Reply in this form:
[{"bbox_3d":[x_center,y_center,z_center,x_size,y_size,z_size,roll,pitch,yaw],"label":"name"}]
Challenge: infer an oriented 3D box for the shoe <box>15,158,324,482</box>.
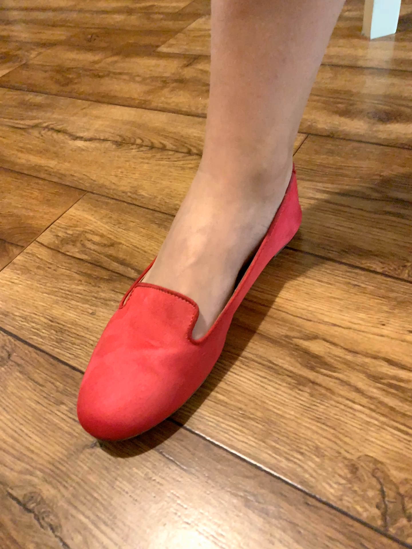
[{"bbox_3d":[-0.007,0.011,0.296,0.087,0.060,0.220,23,56,29],"label":"shoe"}]
